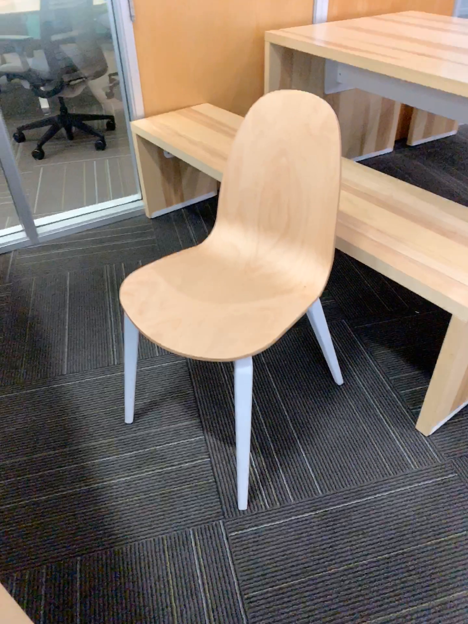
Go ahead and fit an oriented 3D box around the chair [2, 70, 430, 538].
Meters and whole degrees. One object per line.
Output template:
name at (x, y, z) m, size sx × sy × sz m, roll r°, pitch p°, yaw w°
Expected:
chair at (0.014, -0.061, 1.138) m, size 0.522 × 0.765 × 0.652 m, roll 23°, pitch 45°, yaw 28°
